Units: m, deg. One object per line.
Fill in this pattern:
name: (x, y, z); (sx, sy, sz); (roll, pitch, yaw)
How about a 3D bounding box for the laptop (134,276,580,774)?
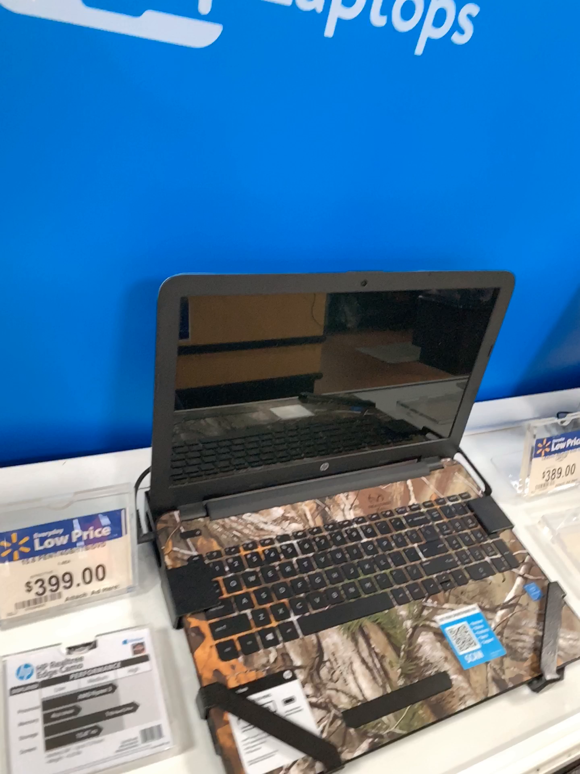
laptop: (0.097, 0.084, 0.519); (0.374, 0.227, 0.304); (-6, 45, -26)
